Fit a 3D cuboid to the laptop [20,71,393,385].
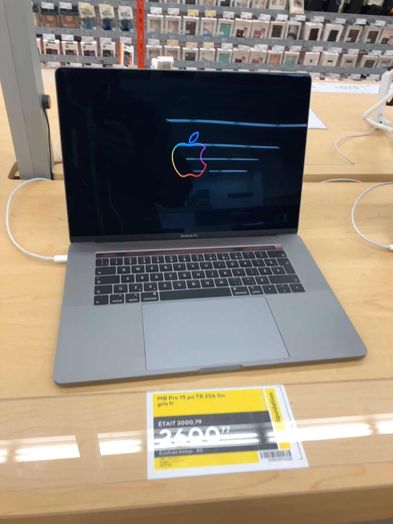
[{"bbox_3d":[0.011,-0.066,0.505,0.329,0.212,0.299,-3,39,-11],"label":"laptop"}]
